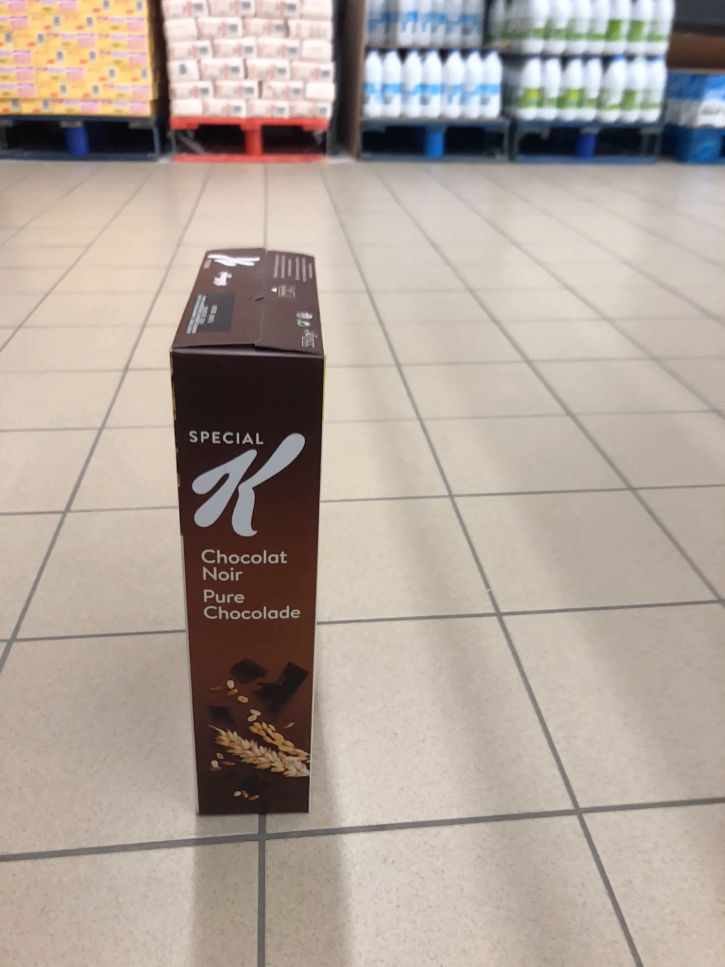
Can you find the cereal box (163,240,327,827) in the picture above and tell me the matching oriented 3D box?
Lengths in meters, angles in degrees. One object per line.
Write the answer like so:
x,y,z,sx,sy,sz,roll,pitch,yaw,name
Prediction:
-0.073,0.022,0.505,0.070,0.298,0.211,1,27,-8,cereal box
